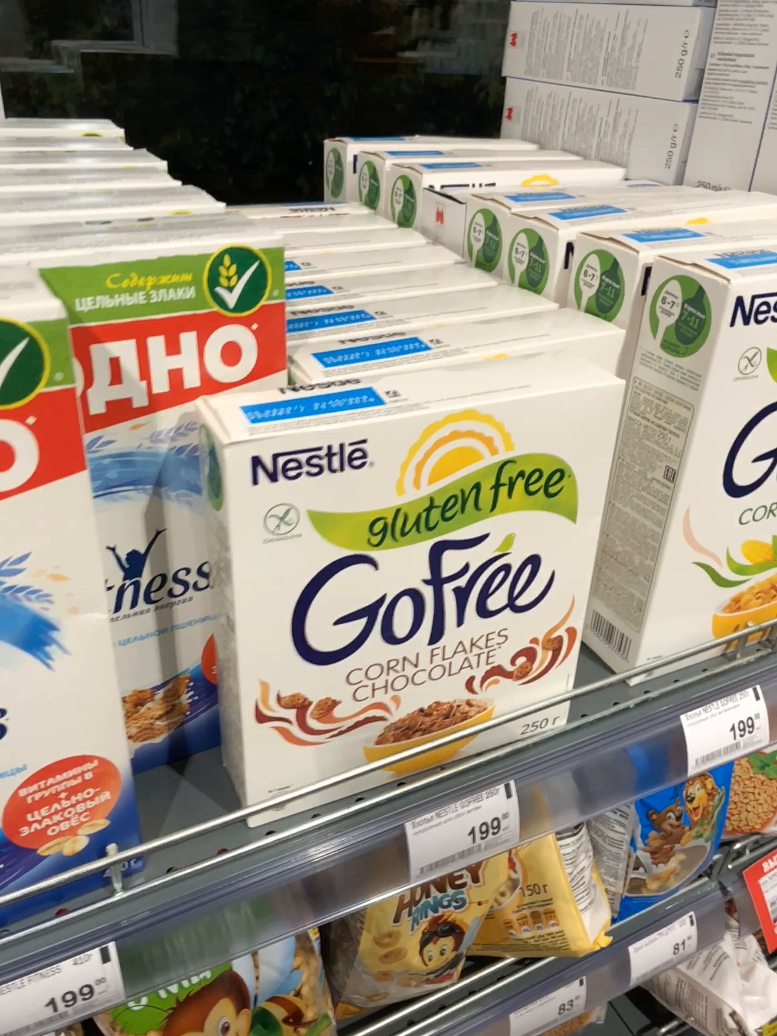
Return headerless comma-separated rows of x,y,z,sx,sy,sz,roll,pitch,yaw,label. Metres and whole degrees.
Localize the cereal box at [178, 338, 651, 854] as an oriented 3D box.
0.011,0.036,0.425,0.200,0.219,0.060,-11,32,-23,cereal box
